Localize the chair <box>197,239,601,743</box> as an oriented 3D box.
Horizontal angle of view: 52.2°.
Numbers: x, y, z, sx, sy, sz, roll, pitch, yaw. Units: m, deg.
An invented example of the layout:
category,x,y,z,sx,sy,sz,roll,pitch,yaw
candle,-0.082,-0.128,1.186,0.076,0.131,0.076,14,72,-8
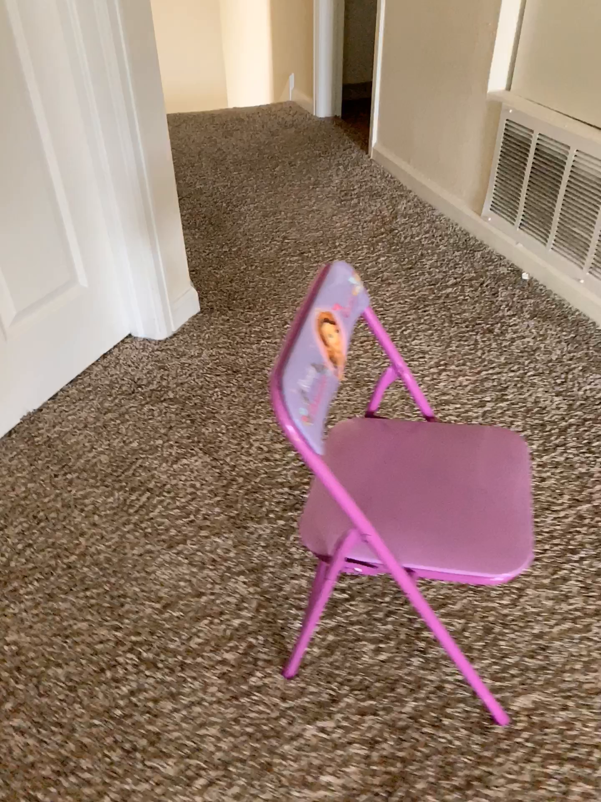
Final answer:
category,x,y,z,sx,sy,sz,roll,pitch,yaw
chair,0.142,0.106,0.806,0.390,0.468,0.382,8,40,10
